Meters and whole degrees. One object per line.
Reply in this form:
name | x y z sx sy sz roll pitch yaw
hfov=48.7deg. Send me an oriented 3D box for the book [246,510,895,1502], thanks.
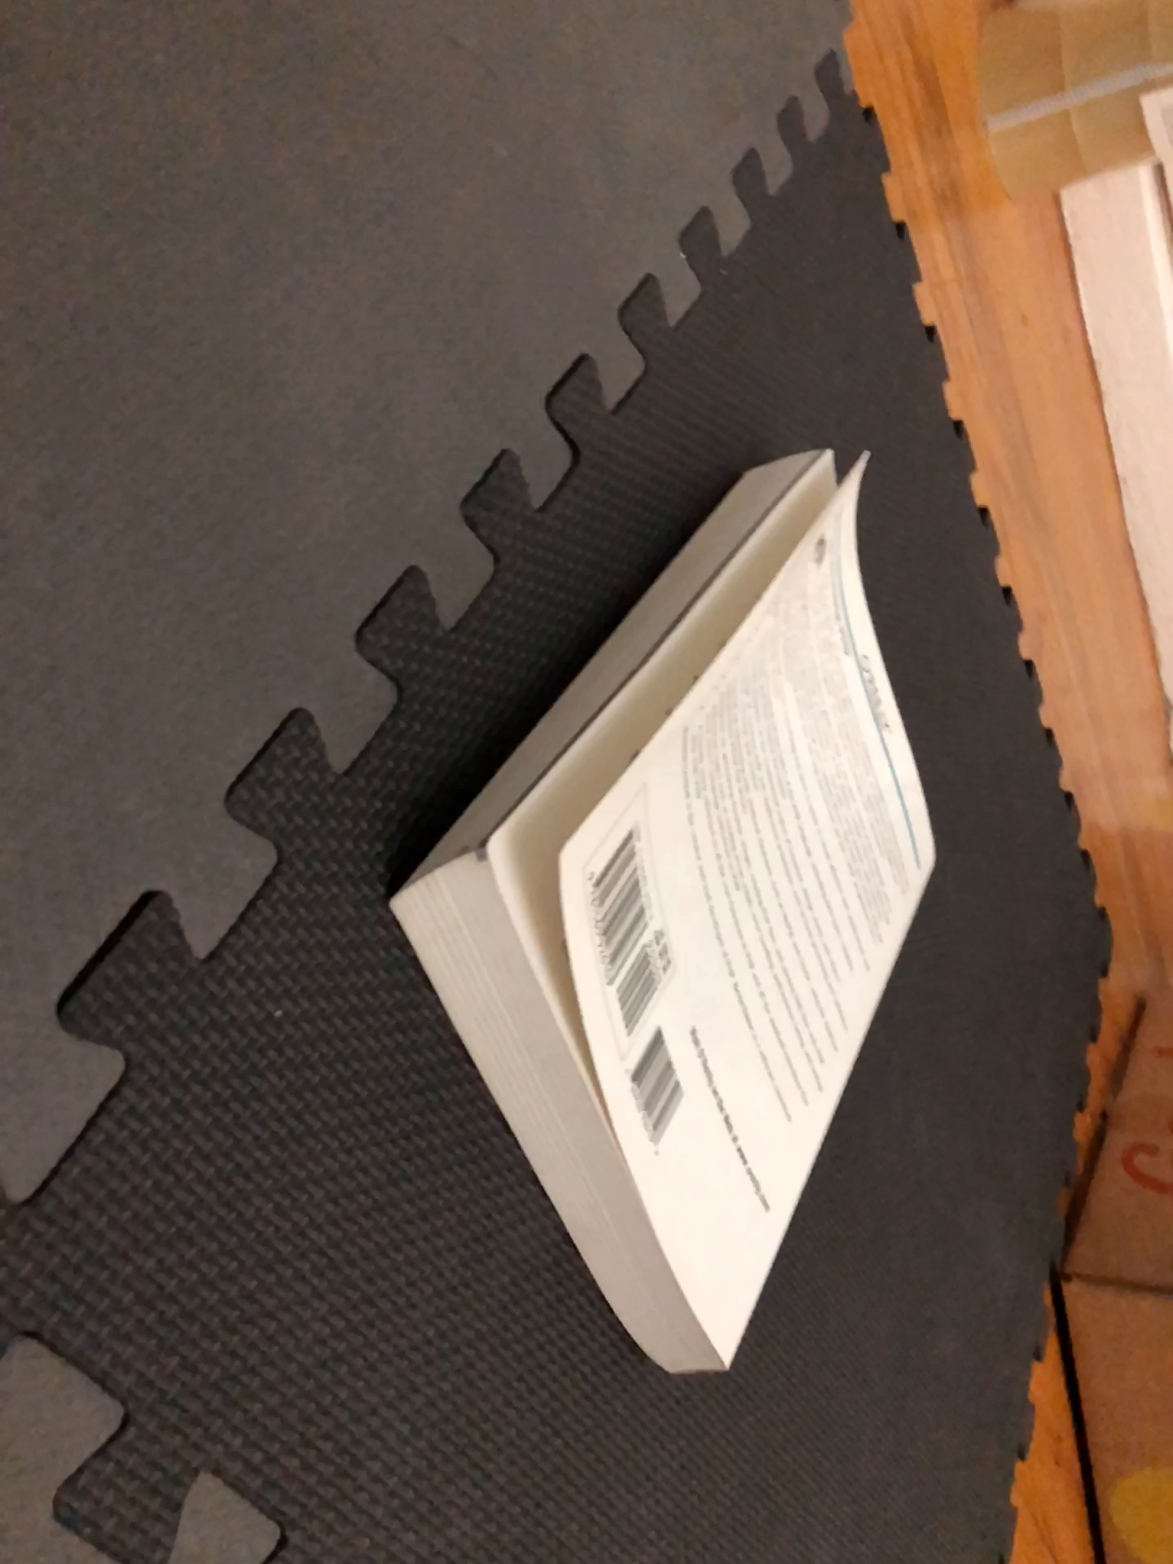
book | 0.029 0.064 0.494 0.291 0.040 0.230 -50 127 -45
